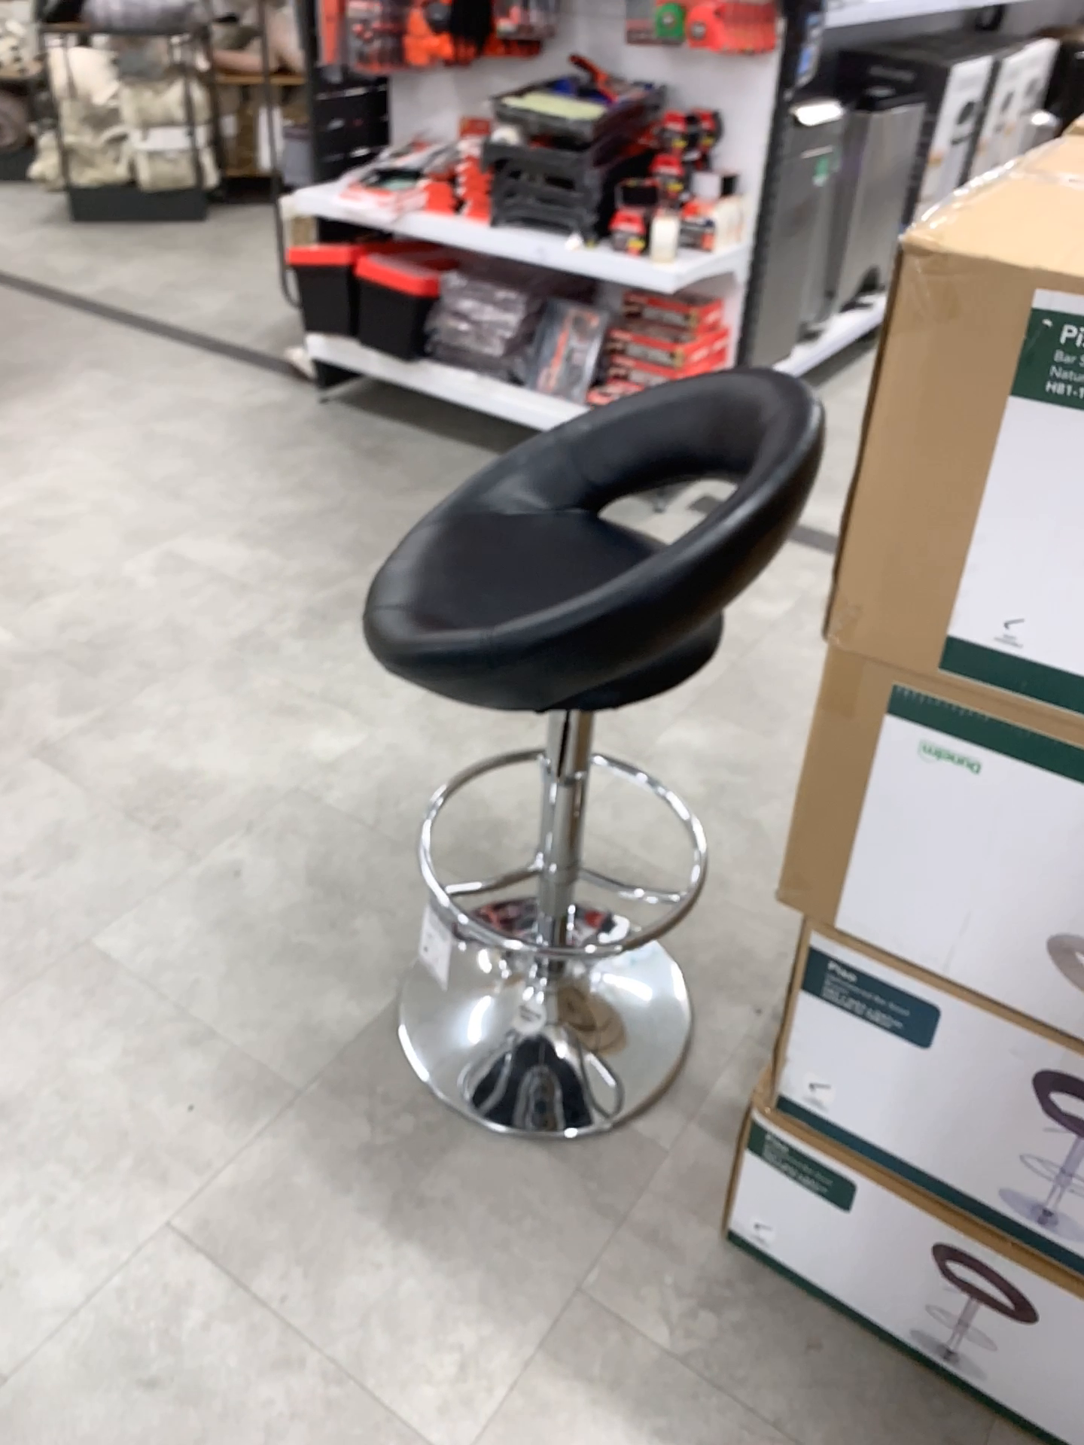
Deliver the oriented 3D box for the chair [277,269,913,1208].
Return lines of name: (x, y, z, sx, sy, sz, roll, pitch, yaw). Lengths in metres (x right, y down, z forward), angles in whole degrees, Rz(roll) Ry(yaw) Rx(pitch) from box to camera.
chair: (0.041, 0.041, 1.325, 0.482, 0.933, 0.514, 7, 37, 4)
